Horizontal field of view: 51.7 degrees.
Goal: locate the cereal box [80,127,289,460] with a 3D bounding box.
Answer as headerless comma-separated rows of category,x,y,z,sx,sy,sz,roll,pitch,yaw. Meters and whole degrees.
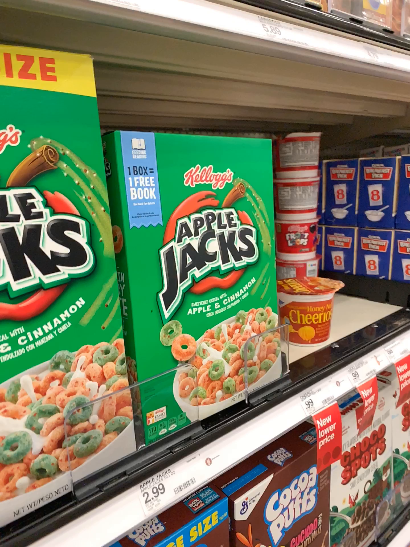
cereal box,-0.006,0.006,0.446,0.200,0.289,0.060,-12,11,-40
